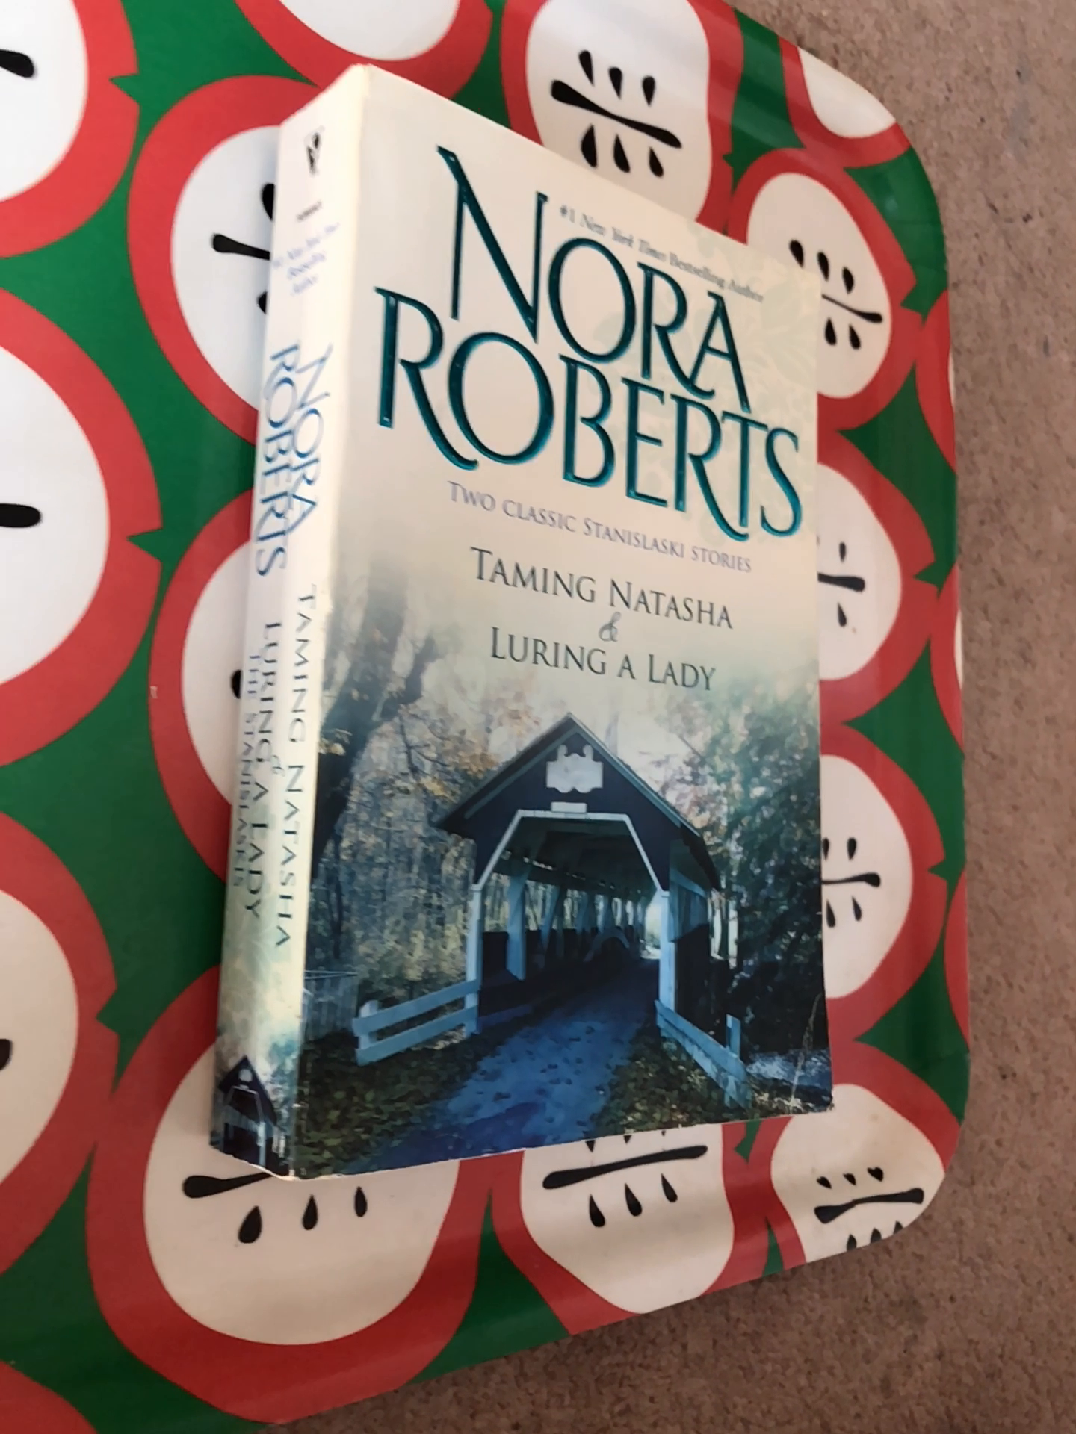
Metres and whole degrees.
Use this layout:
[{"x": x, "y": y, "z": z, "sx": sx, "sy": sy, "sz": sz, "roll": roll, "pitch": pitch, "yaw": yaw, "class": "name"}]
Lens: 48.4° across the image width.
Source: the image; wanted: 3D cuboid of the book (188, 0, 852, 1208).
[{"x": 0.006, "y": -0.019, "z": 0.269, "sx": 0.140, "sy": 0.040, "sz": 0.220, "roll": 7, "pitch": 83, "yaw": -36, "class": "book"}]
